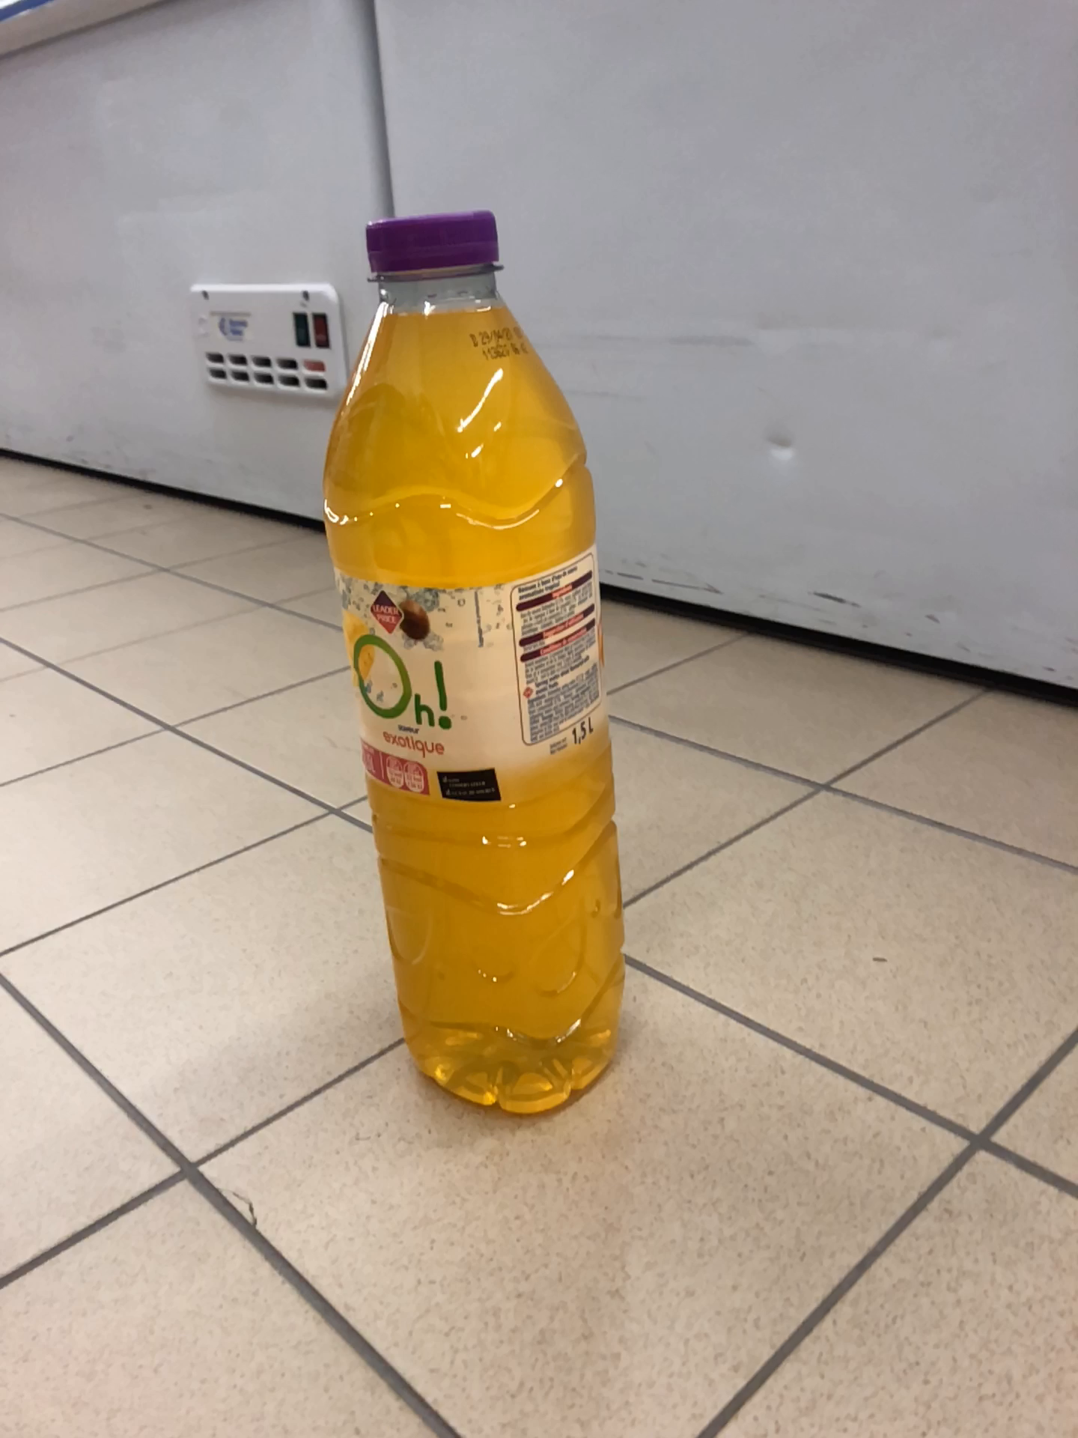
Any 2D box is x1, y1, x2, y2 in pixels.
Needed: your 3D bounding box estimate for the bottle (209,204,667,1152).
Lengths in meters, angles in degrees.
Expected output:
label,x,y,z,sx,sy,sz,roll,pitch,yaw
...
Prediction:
label,x,y,z,sx,sy,sz,roll,pitch,yaw
bottle,-0.024,-0.014,0.416,0.100,0.299,0.090,13,27,36
